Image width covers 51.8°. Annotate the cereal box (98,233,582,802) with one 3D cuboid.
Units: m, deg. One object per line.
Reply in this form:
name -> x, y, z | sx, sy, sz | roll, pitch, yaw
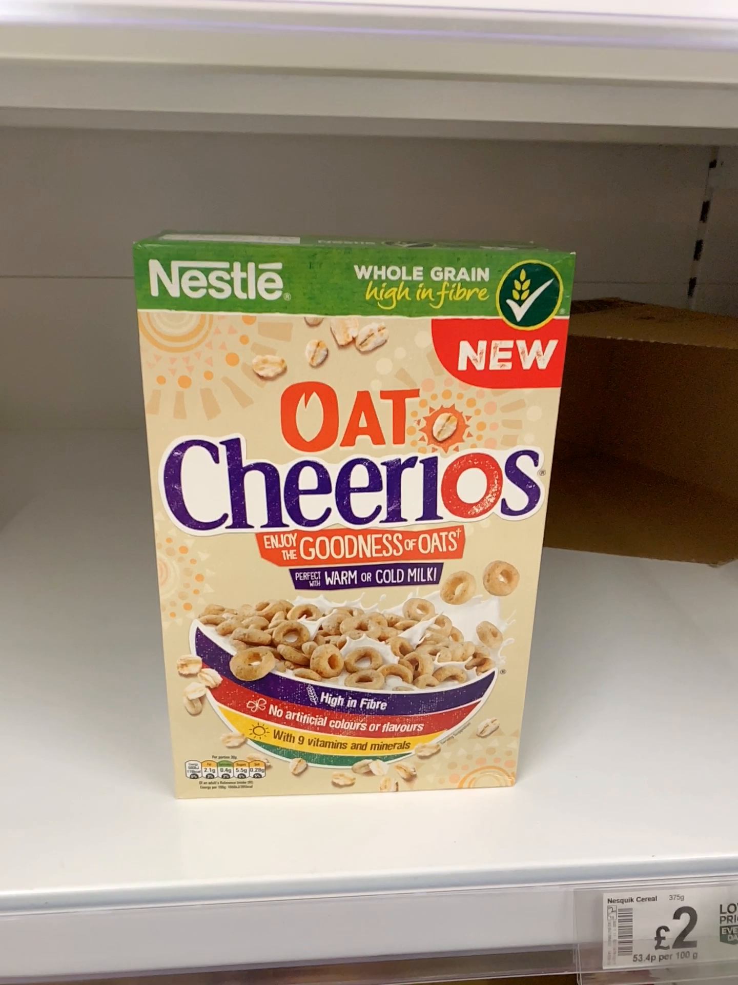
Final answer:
cereal box -> -0.015, 0.020, 0.399 | 0.200, 0.288, 0.071 | 0, 22, -4
